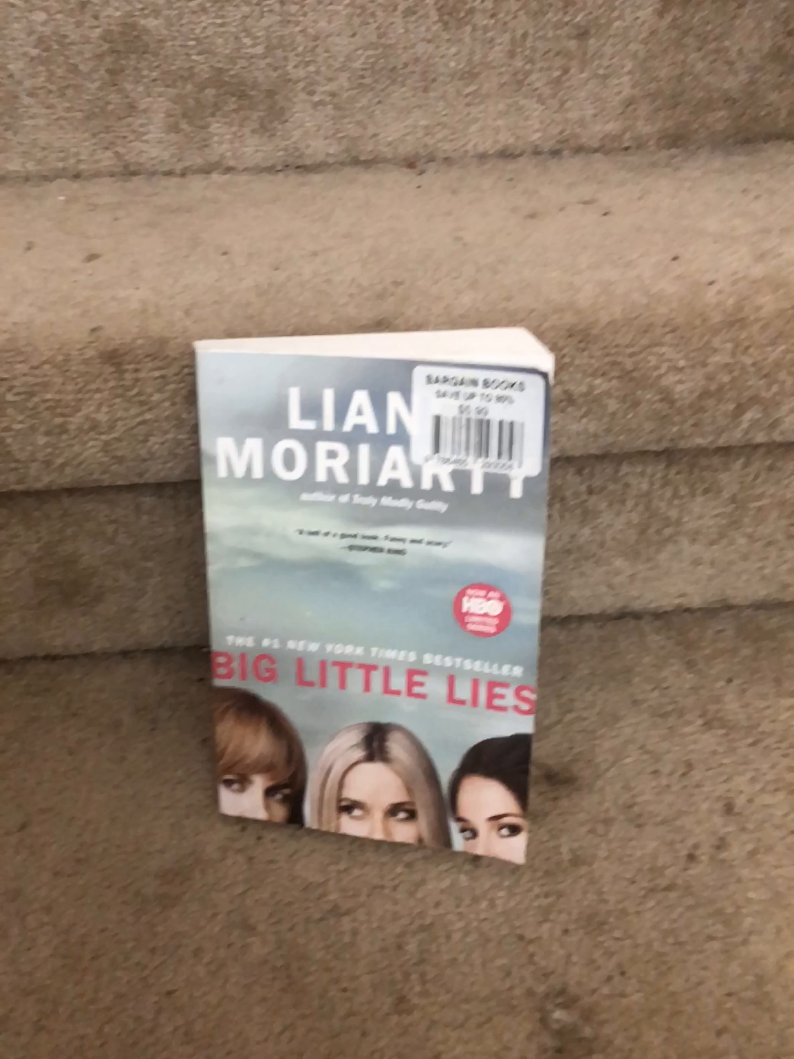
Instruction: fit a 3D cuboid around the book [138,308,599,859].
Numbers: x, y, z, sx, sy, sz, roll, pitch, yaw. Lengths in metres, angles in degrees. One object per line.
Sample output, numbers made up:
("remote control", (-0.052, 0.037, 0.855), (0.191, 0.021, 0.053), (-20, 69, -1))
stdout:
("book", (-0.012, 0.022, 0.355), (0.160, 0.209, 0.050), (3, 18, 6))
